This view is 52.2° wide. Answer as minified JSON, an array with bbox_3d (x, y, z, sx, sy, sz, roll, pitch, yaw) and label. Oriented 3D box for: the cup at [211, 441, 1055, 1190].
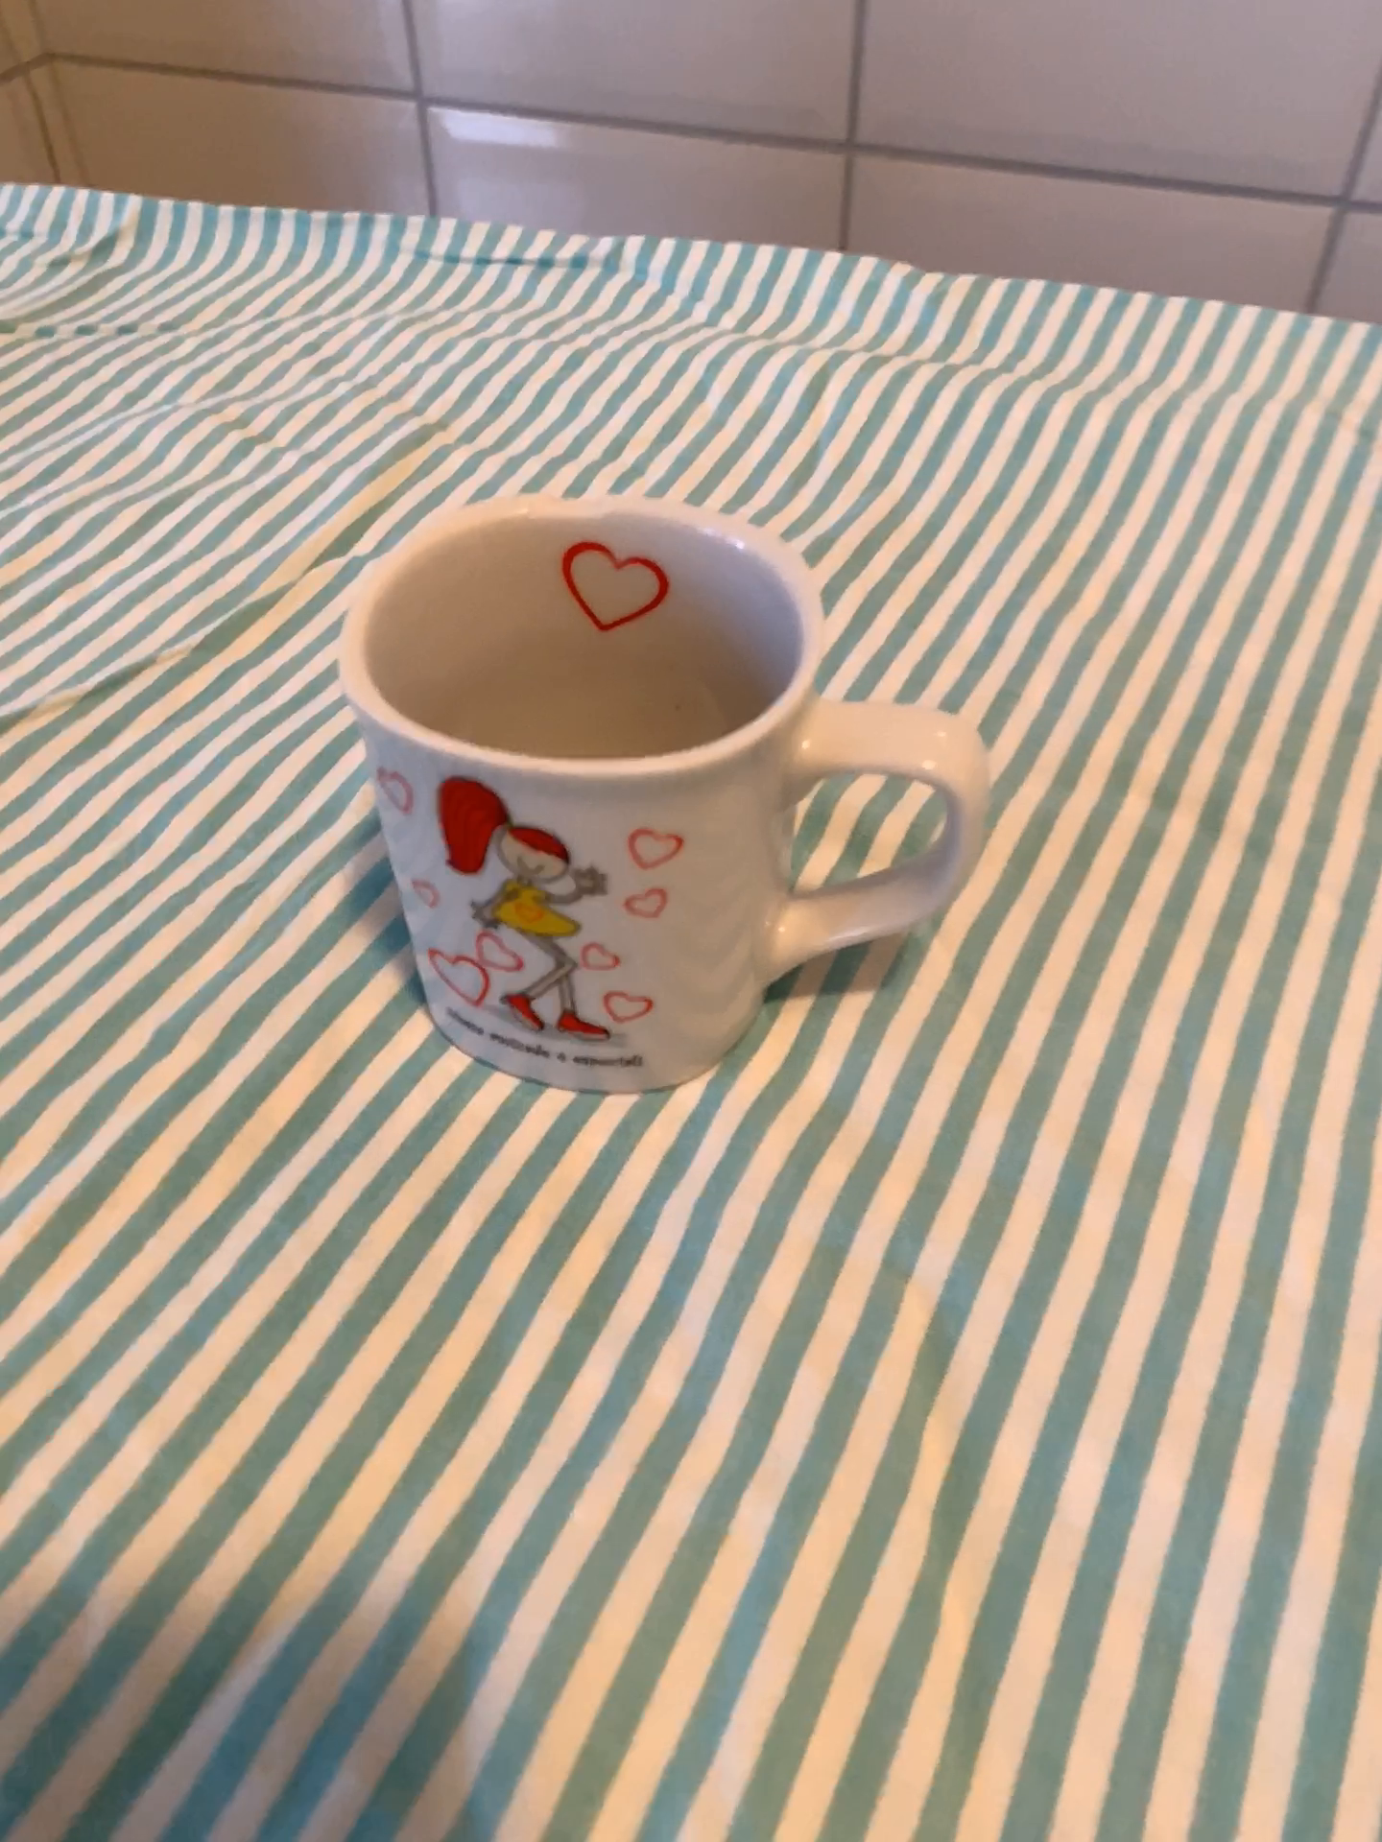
[{"bbox_3d":[-0.006,-0.020,0.243,0.110,0.080,0.070,15,48,13],"label":"cup"}]
